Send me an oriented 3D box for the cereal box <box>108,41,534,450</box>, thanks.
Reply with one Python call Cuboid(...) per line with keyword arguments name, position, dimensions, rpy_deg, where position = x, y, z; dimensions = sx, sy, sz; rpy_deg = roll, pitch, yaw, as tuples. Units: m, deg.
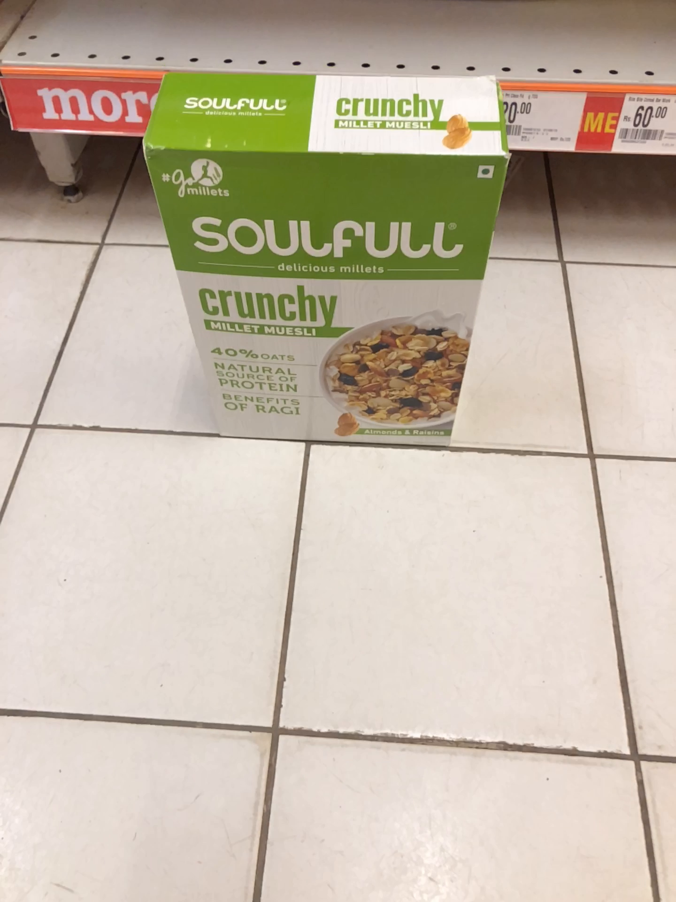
Cuboid(name="cereal box", position=(-0.005, -0.097, 0.430), dimensions=(0.180, 0.239, 0.060), rpy_deg=(3, 56, 3))
